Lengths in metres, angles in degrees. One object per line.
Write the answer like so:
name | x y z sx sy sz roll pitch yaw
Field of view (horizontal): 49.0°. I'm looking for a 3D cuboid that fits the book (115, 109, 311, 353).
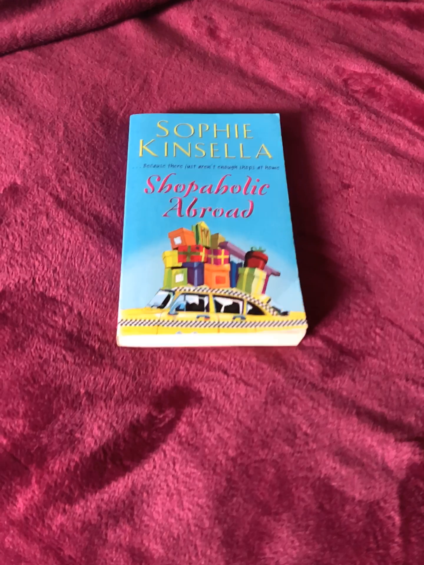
book | -0.002 -0.048 0.365 0.129 0.035 0.200 0 65 -3
